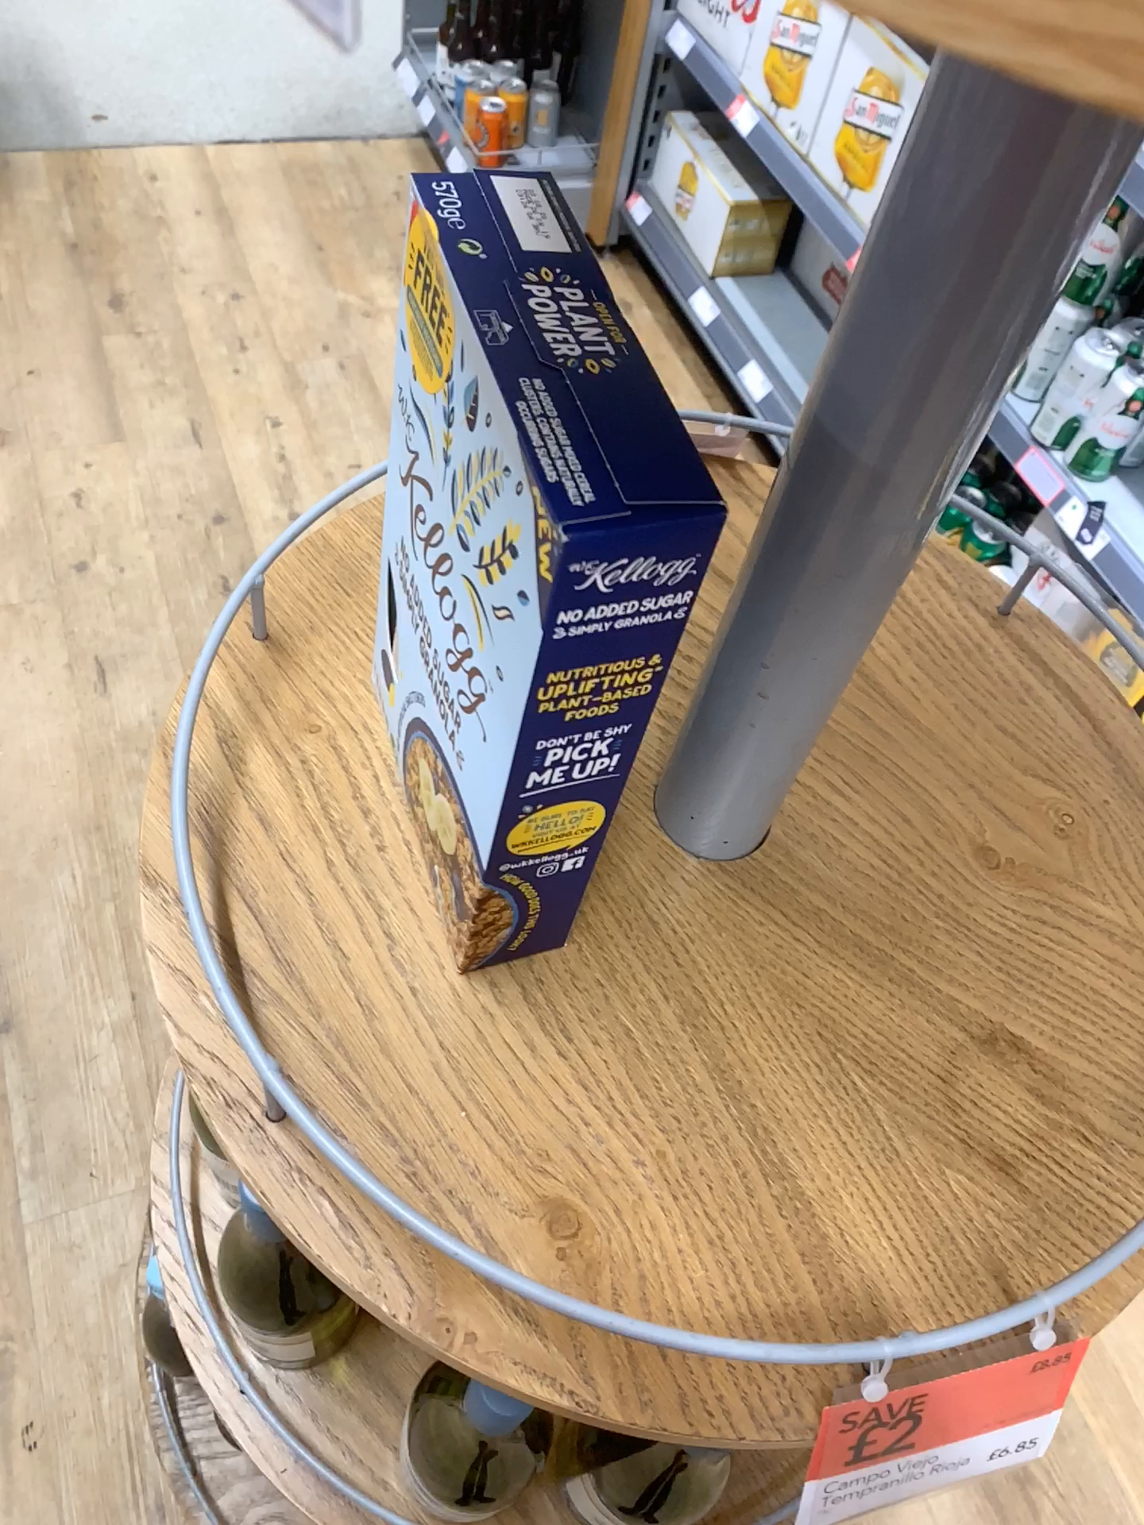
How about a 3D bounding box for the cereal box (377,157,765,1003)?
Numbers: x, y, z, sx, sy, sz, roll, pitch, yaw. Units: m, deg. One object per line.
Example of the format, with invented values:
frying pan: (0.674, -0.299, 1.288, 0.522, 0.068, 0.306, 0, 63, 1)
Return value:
cereal box: (-0.023, -0.048, 0.419, 0.050, 0.248, 0.171, -8, 57, -18)
